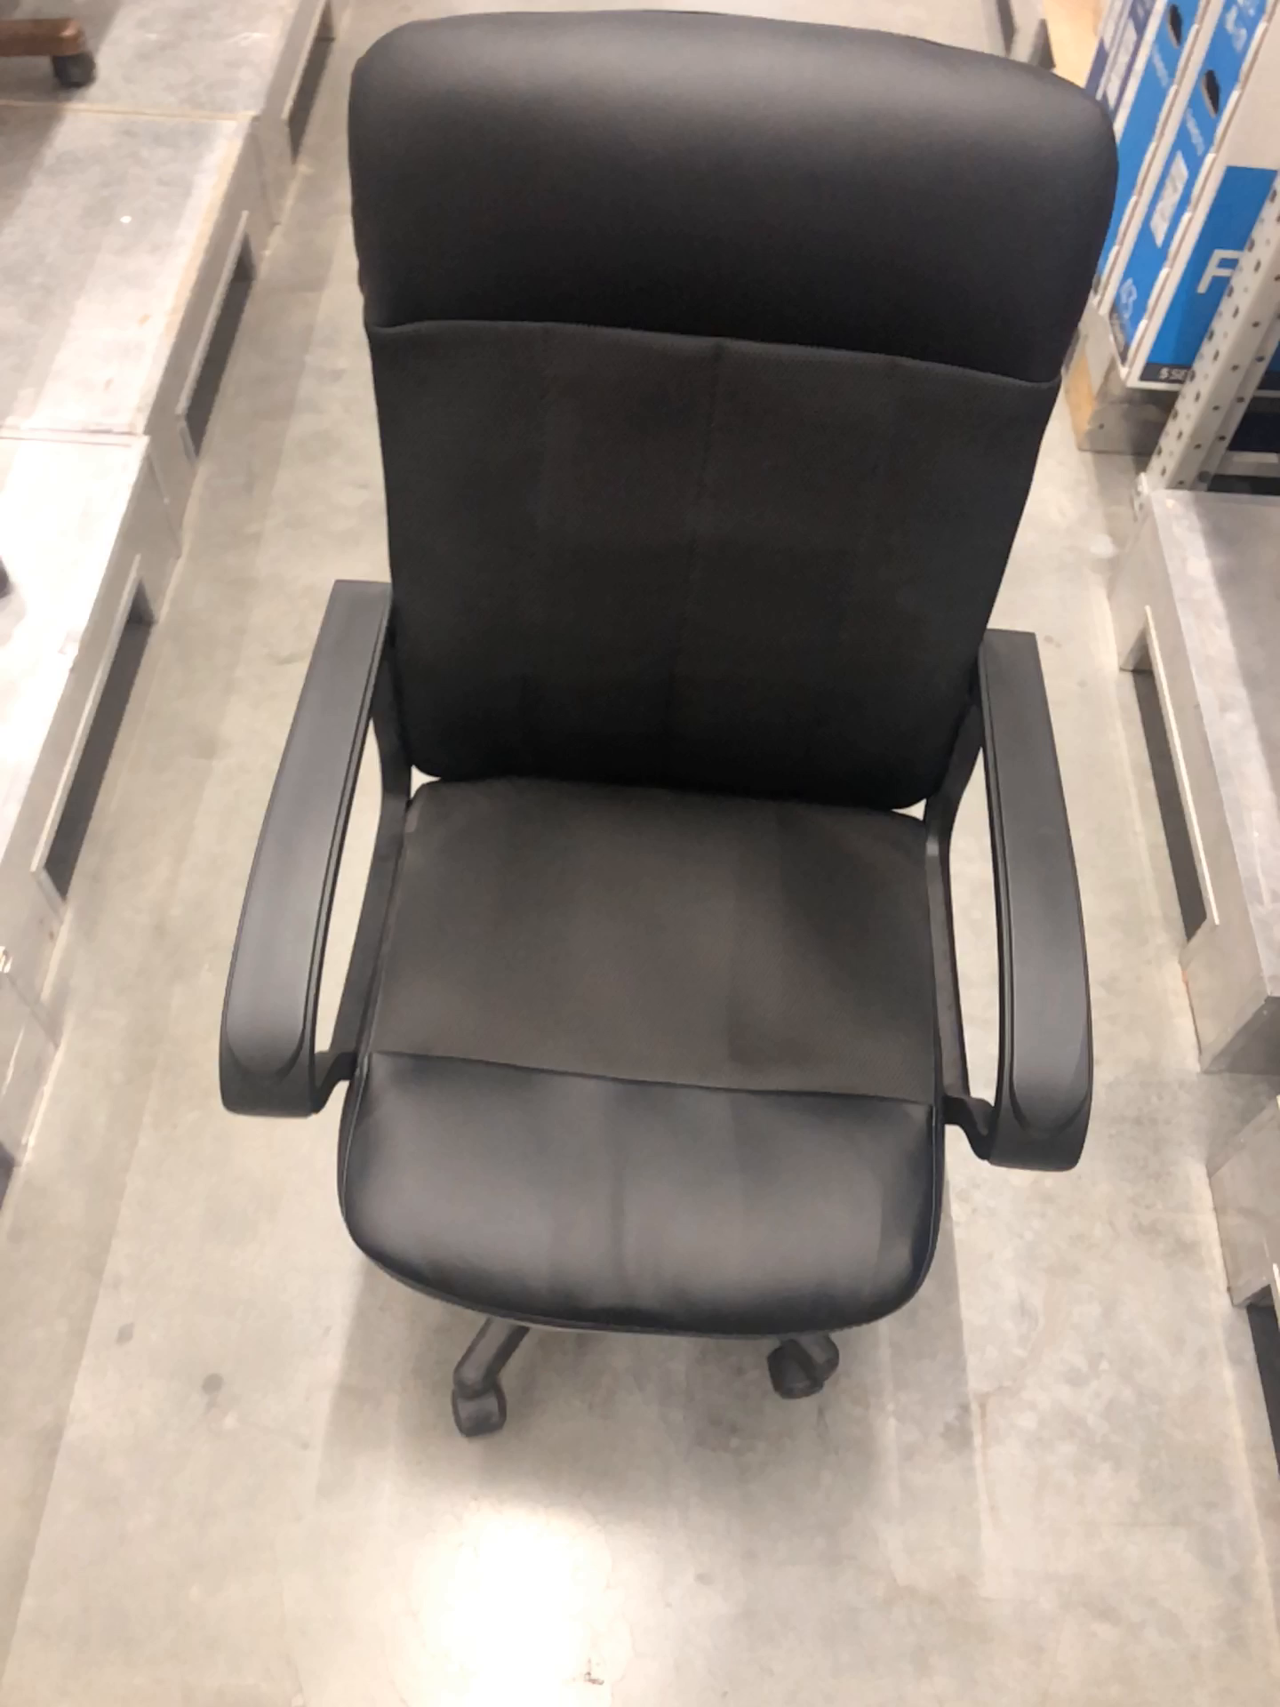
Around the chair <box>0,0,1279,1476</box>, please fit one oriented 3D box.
[{"bbox_3d":[0.012,0.050,1.149,0.650,1.124,0.633,3,57,-1],"label":"chair"}]
